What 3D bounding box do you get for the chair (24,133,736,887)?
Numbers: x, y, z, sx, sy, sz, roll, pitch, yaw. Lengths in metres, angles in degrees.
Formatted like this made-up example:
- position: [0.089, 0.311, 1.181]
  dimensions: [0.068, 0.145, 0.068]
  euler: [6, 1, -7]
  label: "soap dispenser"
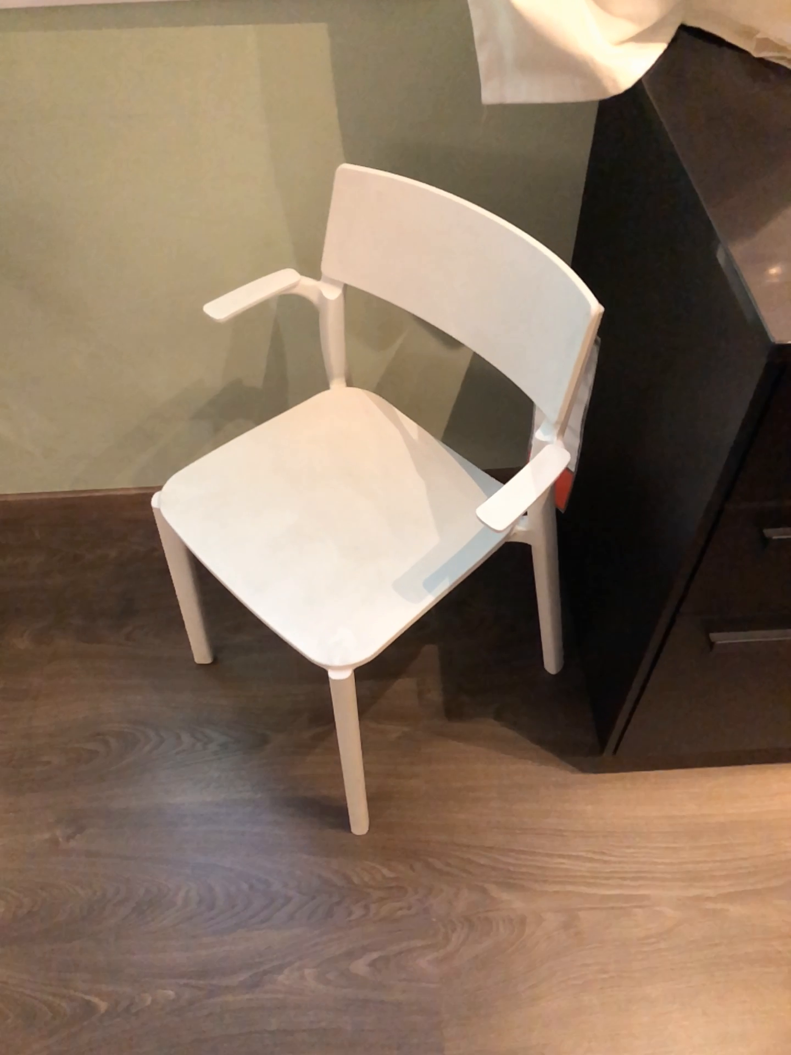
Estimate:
- position: [-0.012, -0.010, 1.272]
  dimensions: [0.581, 0.756, 0.562]
  euler: [-37, 59, -25]
  label: "chair"
